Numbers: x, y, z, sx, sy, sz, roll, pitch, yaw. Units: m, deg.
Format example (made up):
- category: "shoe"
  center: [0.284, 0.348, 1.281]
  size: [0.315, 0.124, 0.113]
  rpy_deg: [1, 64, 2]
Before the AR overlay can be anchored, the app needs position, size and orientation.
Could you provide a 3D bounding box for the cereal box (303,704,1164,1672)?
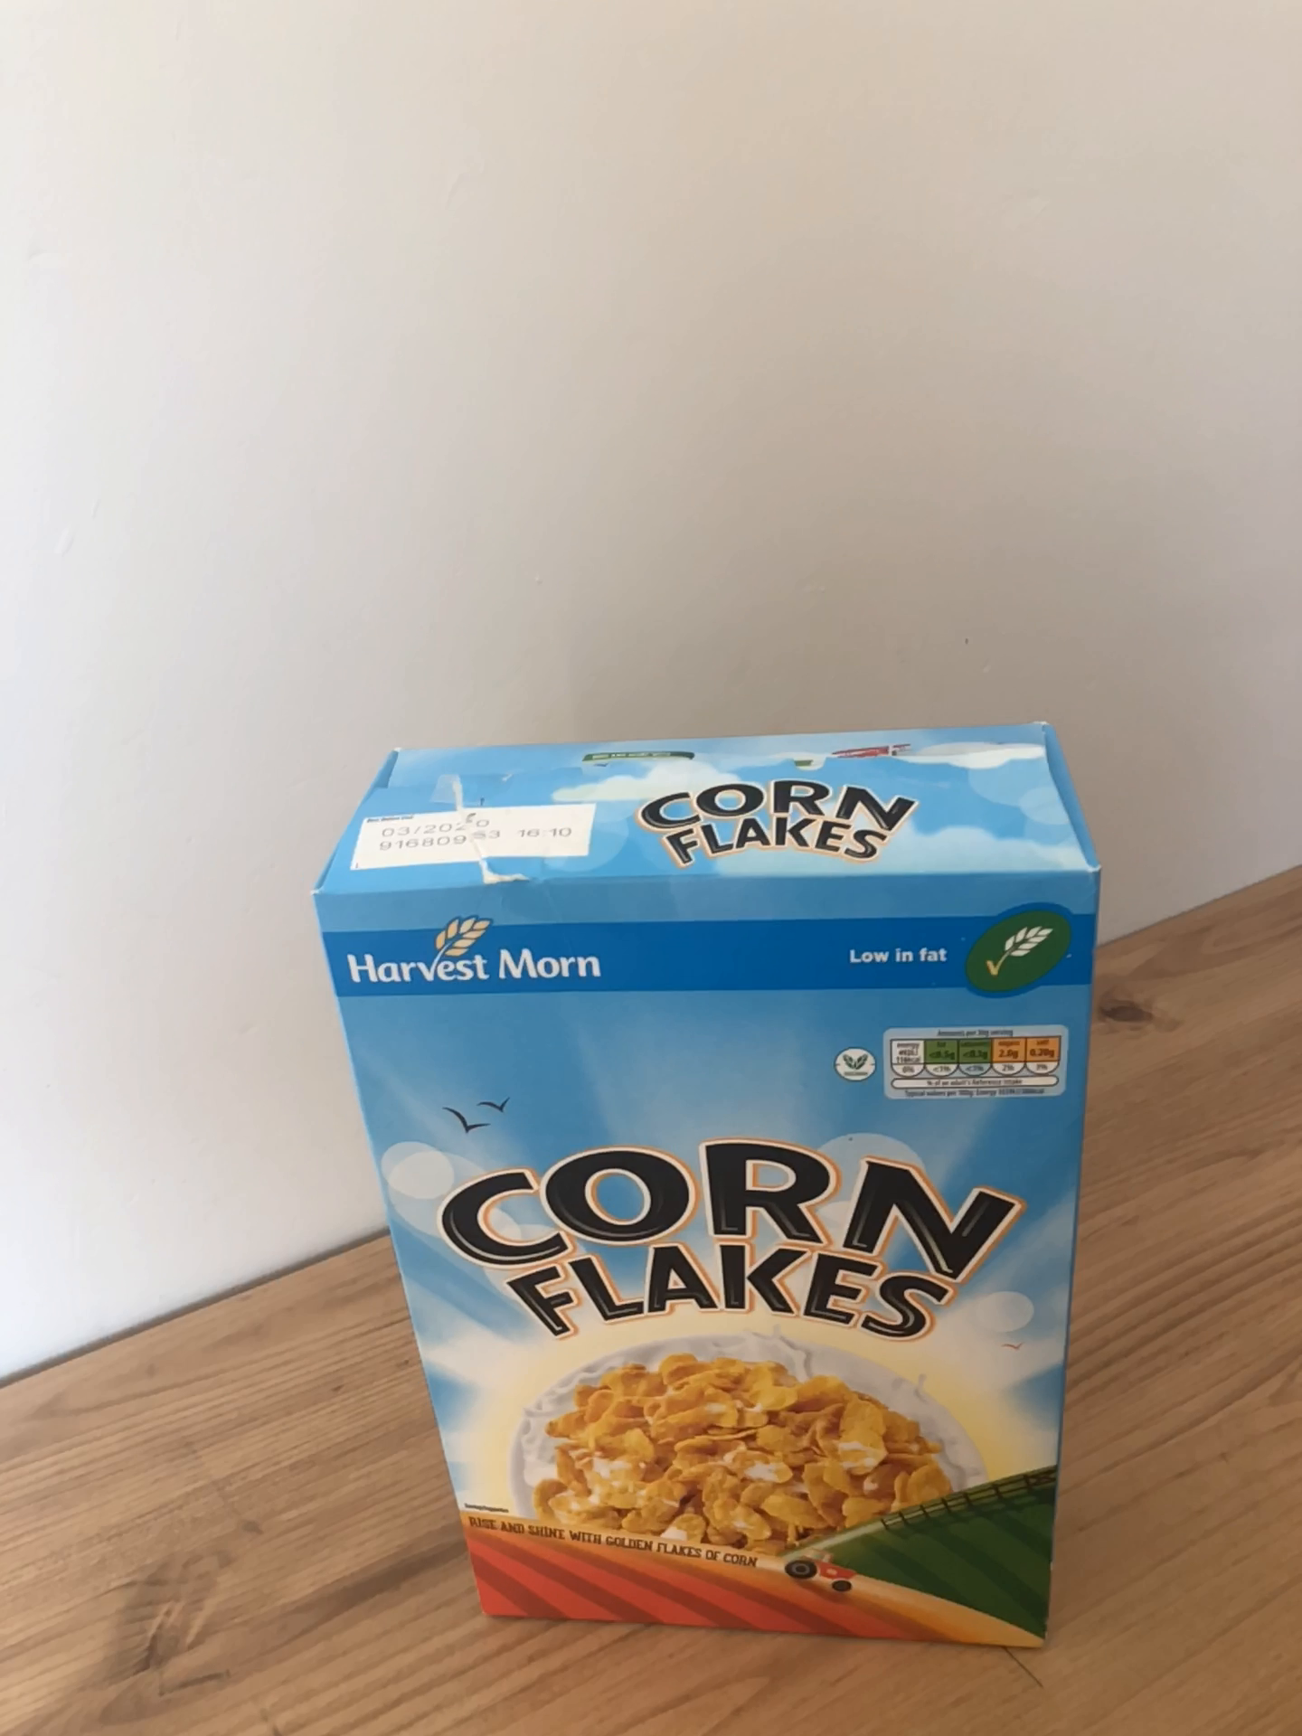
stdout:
- category: "cereal box"
  center: [0.033, 0.111, 0.445]
  size: [0.200, 0.308, 0.081]
  rpy_deg: [-1, 30, 8]
